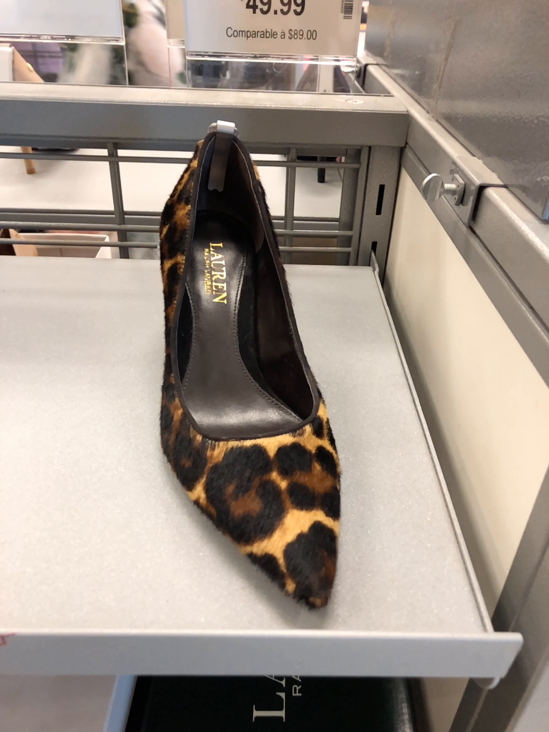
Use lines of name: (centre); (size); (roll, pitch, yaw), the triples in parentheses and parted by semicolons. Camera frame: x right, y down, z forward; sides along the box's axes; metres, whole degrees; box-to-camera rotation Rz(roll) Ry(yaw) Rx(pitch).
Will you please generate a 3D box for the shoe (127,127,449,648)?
shoe: (-0.023, -0.024, 0.316); (0.090, 0.129, 0.272); (-5, 35, -11)
